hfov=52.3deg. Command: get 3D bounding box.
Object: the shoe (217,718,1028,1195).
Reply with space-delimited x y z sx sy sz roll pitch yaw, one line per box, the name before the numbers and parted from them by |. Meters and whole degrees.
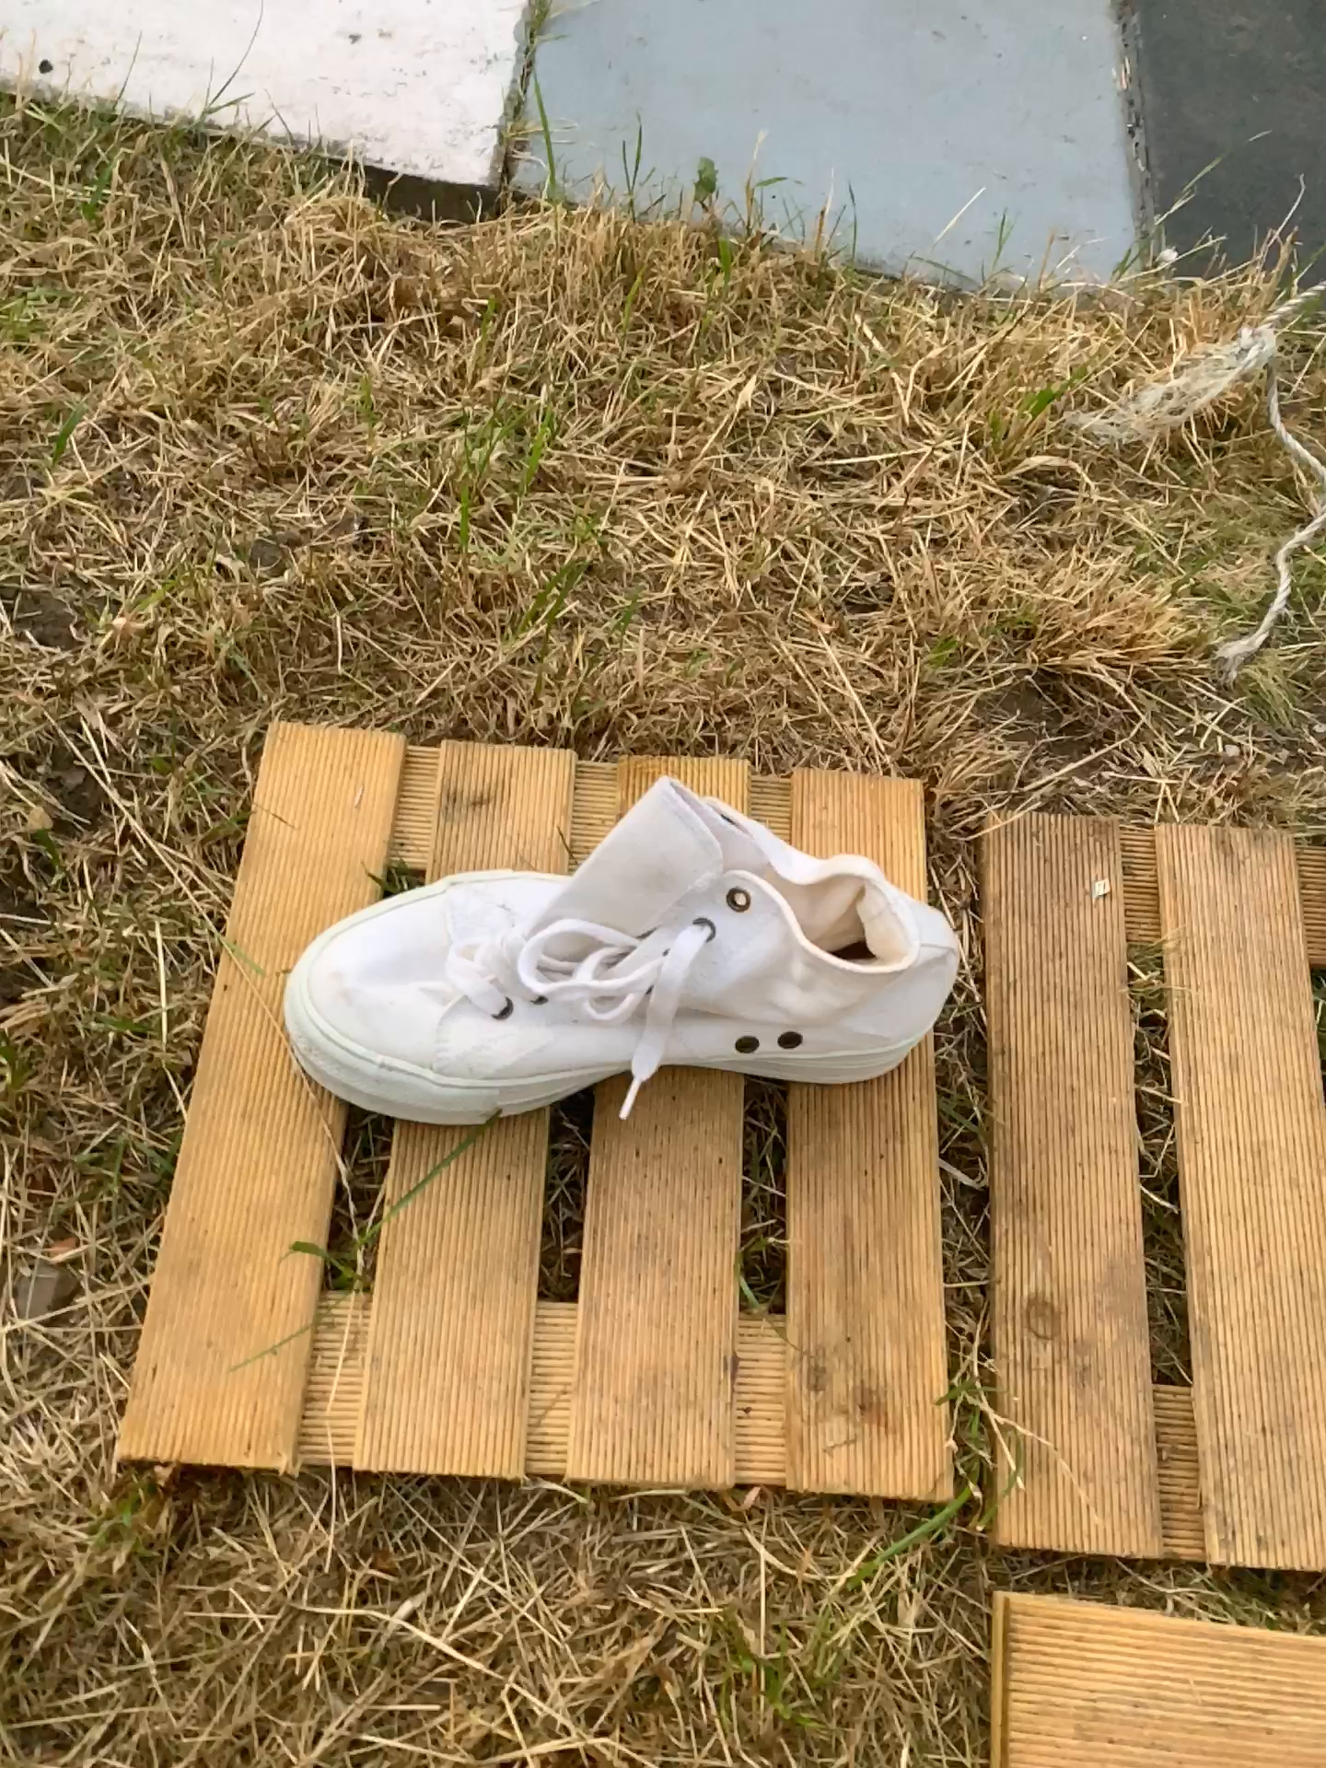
shoe | -0.015 0.036 0.506 0.260 0.129 0.101 9 64 -7
